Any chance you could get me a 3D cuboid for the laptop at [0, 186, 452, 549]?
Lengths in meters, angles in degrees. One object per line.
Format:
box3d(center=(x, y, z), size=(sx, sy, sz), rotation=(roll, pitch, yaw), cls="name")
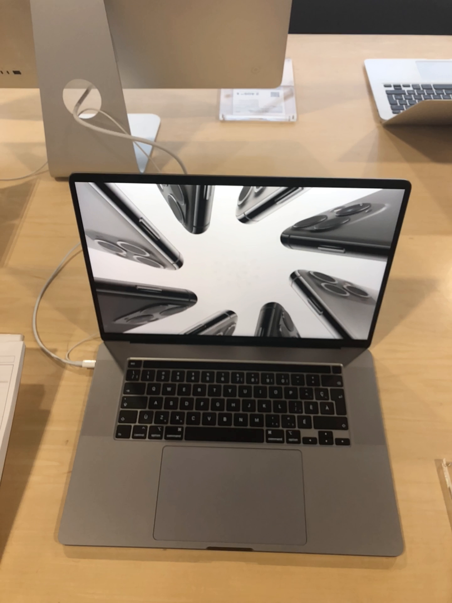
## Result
box3d(center=(0.010, 0.067, 0.506), size=(0.343, 0.227, 0.292), rotation=(1, 53, 2), cls="laptop")
